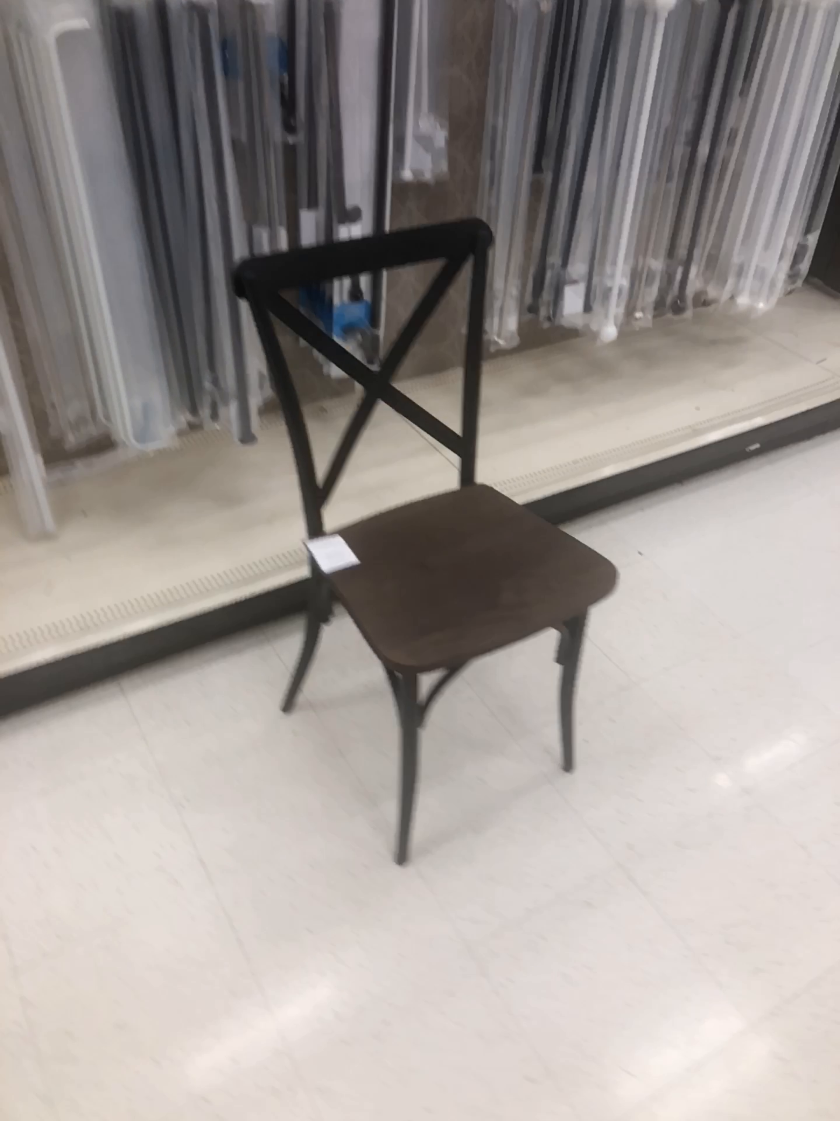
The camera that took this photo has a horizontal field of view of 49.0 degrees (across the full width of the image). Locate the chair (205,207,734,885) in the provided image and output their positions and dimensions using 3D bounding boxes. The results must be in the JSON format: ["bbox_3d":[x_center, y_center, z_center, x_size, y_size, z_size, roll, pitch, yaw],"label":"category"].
[{"bbox_3d":[0.028,-0.031,1.453,0.476,0.812,0.527,-20,44,-26],"label":"chair"}]
